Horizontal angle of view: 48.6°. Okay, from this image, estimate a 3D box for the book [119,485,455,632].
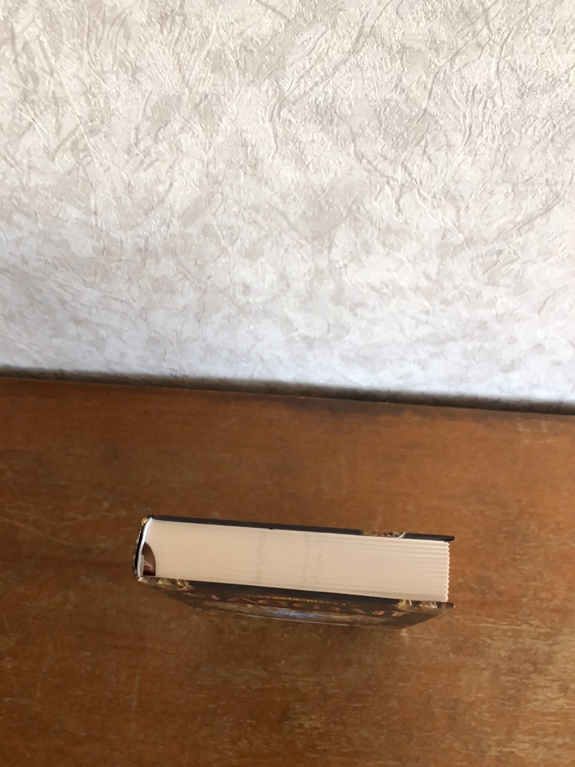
[{"bbox_3d":[0.004,0.127,0.426,0.166,0.228,0.042,4,64,4],"label":"book"}]
